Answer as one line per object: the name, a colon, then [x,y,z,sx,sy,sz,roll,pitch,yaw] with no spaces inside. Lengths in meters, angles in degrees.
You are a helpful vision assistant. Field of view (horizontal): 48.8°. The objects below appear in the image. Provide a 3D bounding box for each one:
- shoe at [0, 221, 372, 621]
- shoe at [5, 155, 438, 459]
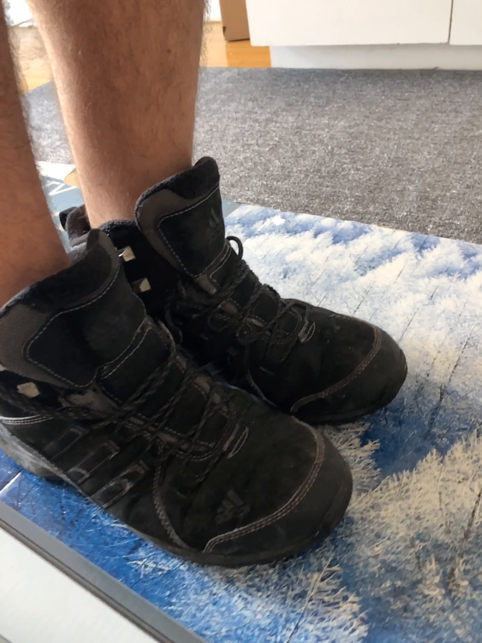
shoe: [-0.070,0.049,0.338,0.280,0.169,0.111,9,43,22]
shoe: [-0.008,-0.022,0.416,0.280,0.169,0.111,9,43,22]
